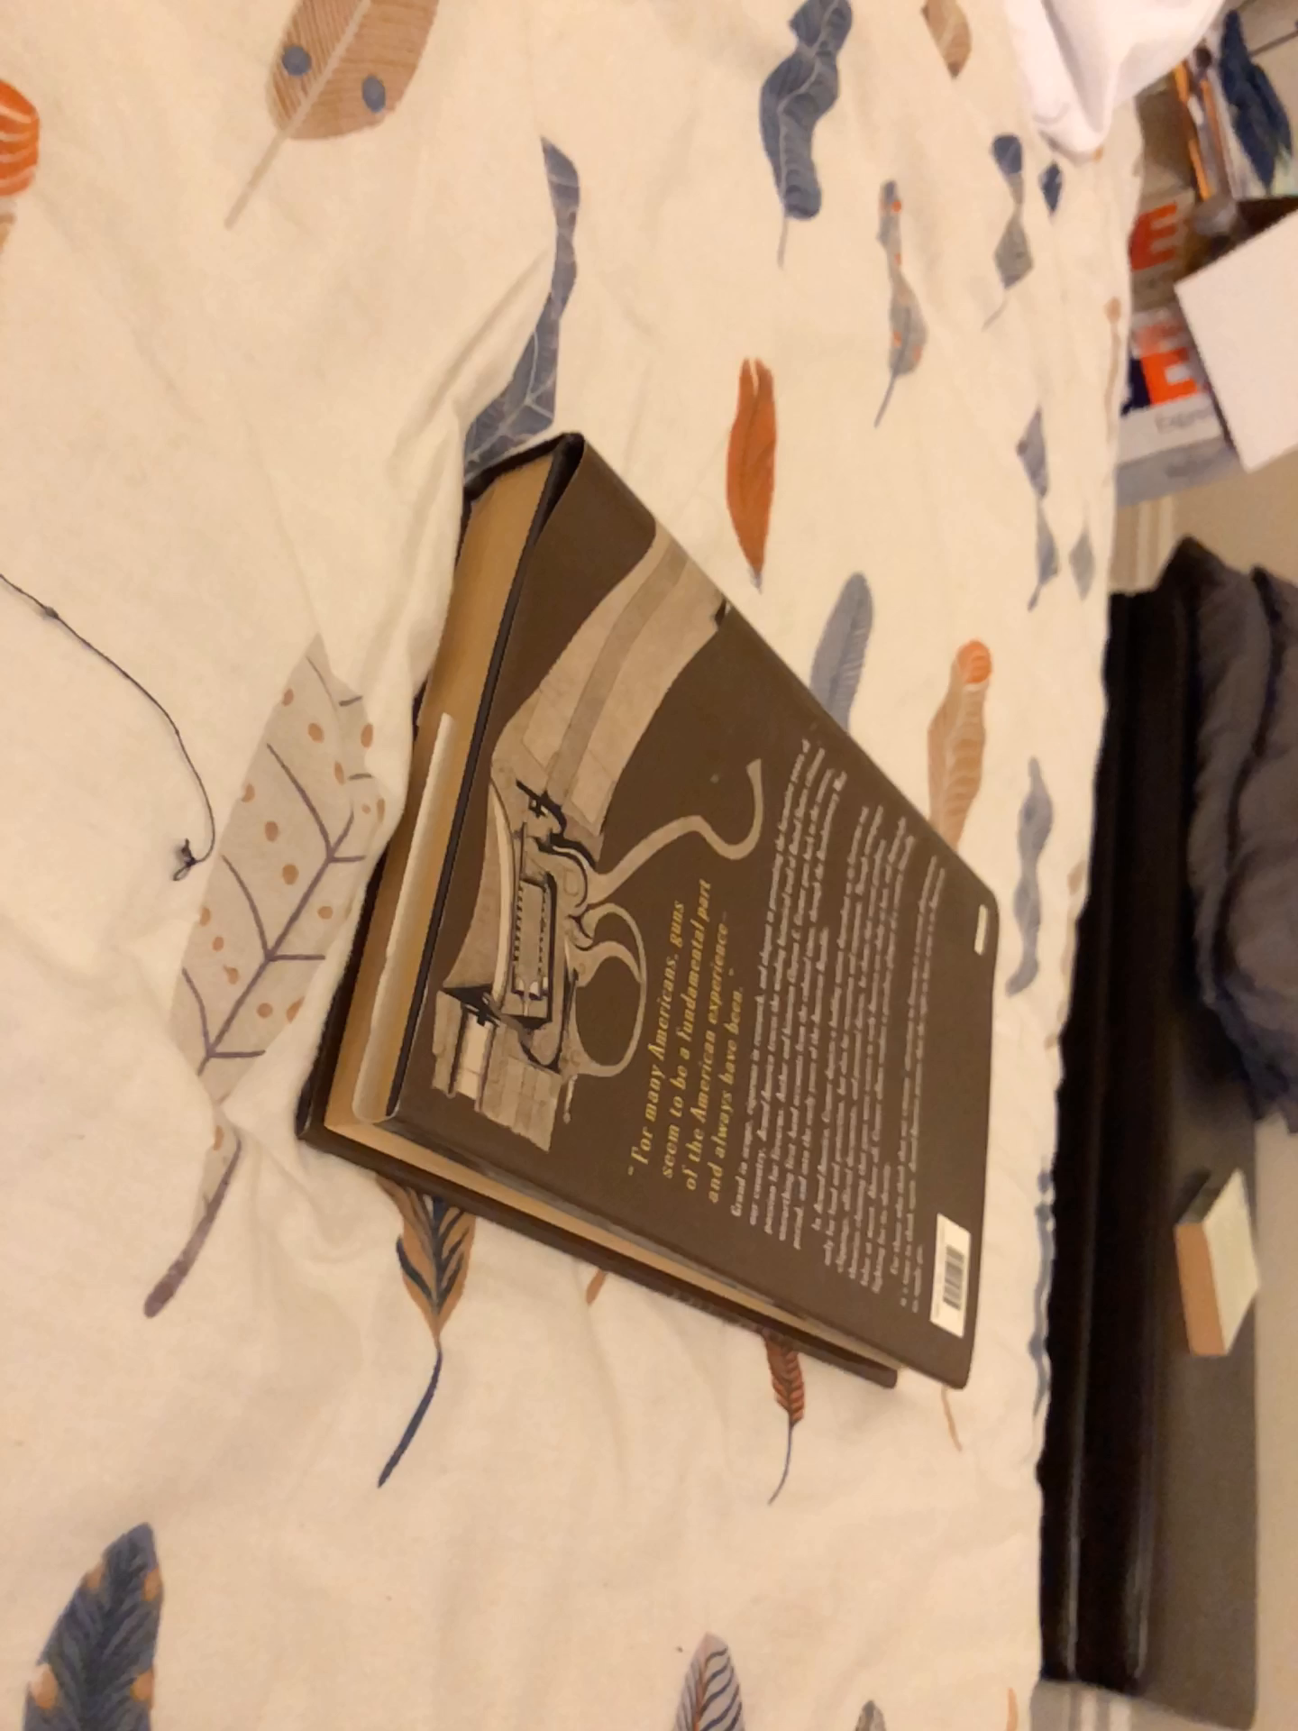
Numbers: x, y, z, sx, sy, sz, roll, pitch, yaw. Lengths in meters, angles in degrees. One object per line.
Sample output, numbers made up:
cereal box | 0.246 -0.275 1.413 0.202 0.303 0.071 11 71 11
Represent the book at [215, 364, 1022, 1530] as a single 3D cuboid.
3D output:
book | 0.026 0.039 0.334 0.241 0.030 0.180 41 51 -46
